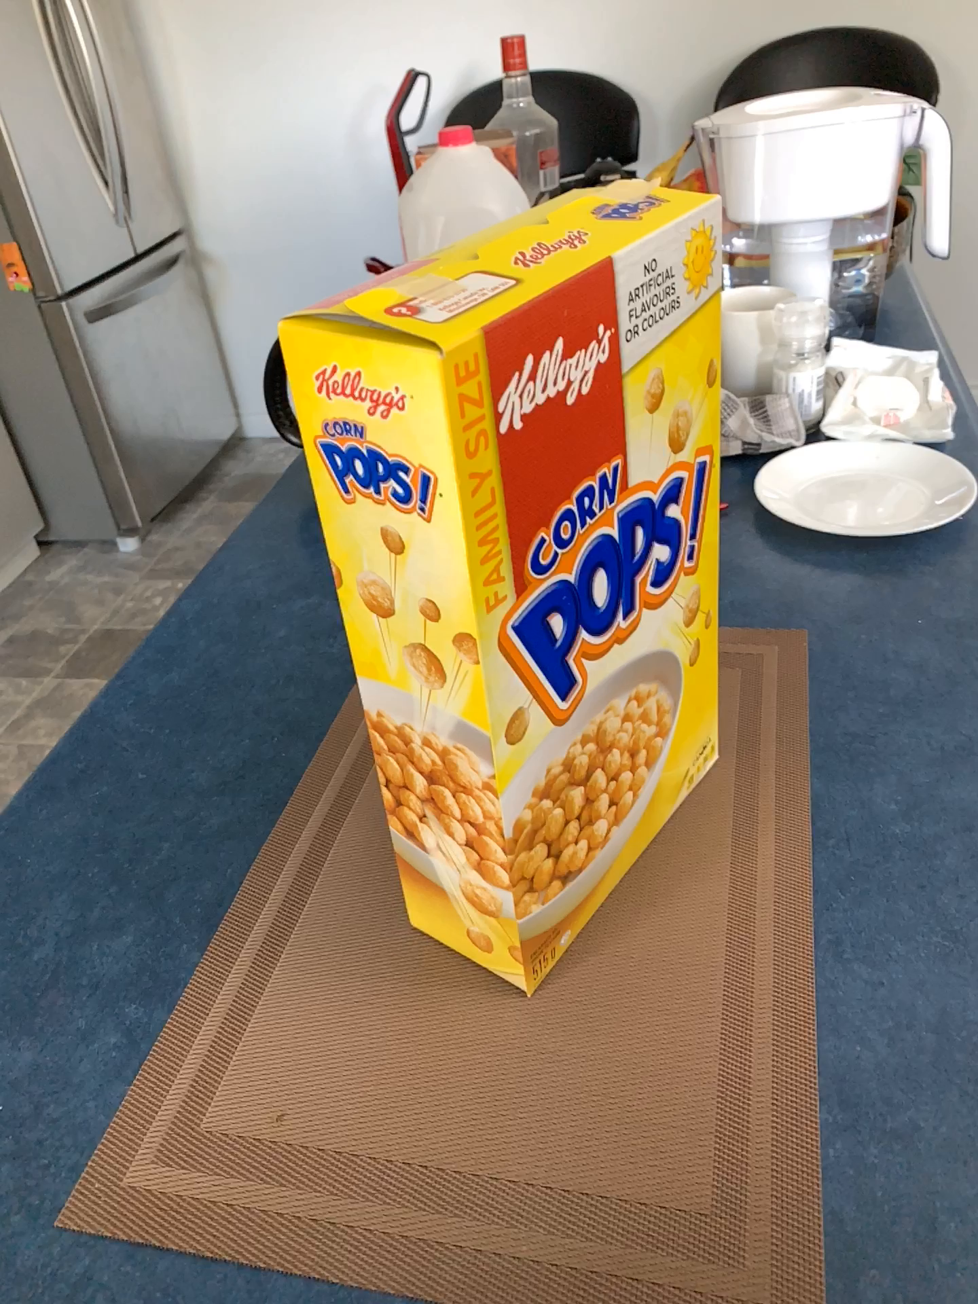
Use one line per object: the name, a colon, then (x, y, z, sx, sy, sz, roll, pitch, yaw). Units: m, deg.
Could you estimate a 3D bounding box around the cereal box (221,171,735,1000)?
cereal box: (0.025, -0.033, 0.475, 0.090, 0.317, 0.211, 18, 42, 34)
